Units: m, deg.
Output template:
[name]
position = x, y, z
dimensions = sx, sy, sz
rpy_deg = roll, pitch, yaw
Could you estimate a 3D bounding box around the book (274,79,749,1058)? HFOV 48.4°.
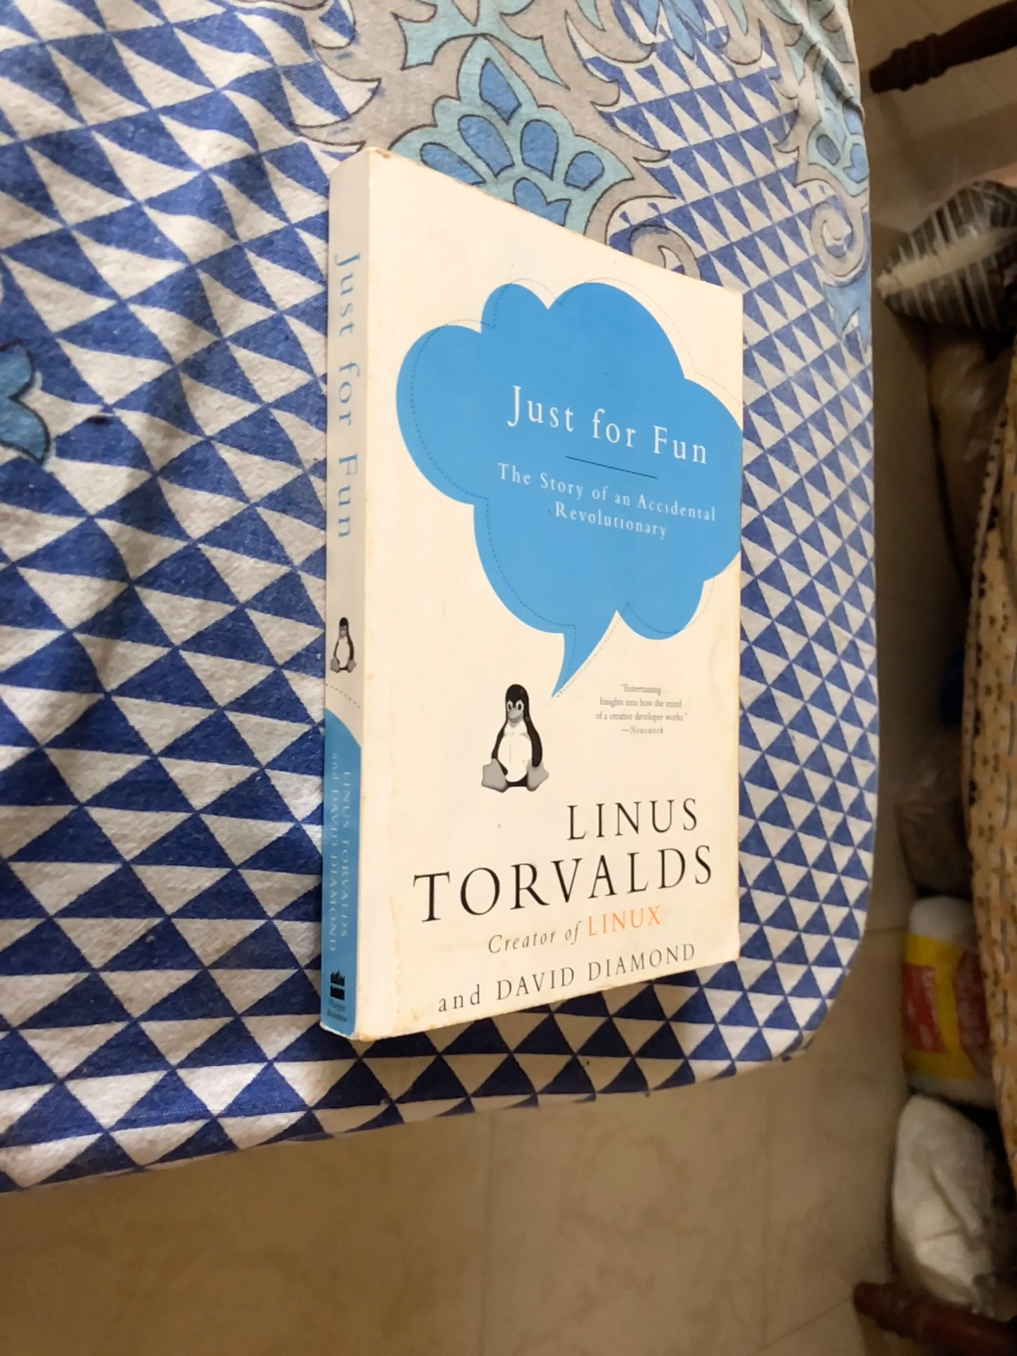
[book]
position = 0.008, -0.023, 0.300
dimensions = 0.141, 0.030, 0.210
rpy_deg = 2, 87, -42
